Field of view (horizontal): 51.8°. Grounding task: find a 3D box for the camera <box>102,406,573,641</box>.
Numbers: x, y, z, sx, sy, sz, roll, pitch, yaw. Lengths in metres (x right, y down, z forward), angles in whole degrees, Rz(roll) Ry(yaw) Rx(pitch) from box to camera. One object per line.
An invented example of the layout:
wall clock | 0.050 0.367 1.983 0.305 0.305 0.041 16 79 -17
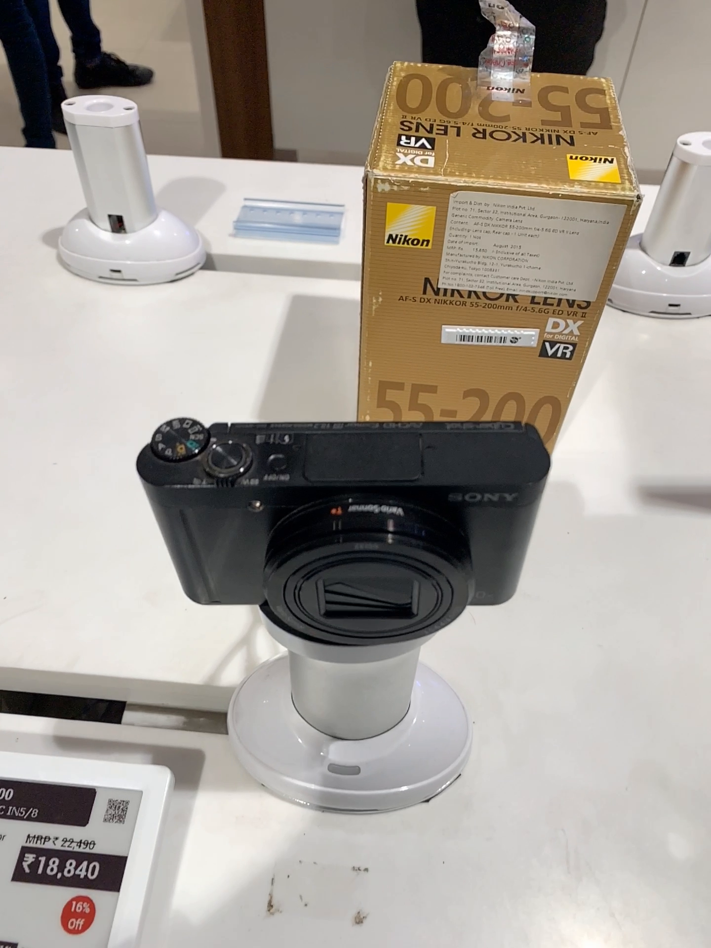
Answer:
camera | -0.004 0.015 0.188 0.100 0.060 0.030 1 51 0
